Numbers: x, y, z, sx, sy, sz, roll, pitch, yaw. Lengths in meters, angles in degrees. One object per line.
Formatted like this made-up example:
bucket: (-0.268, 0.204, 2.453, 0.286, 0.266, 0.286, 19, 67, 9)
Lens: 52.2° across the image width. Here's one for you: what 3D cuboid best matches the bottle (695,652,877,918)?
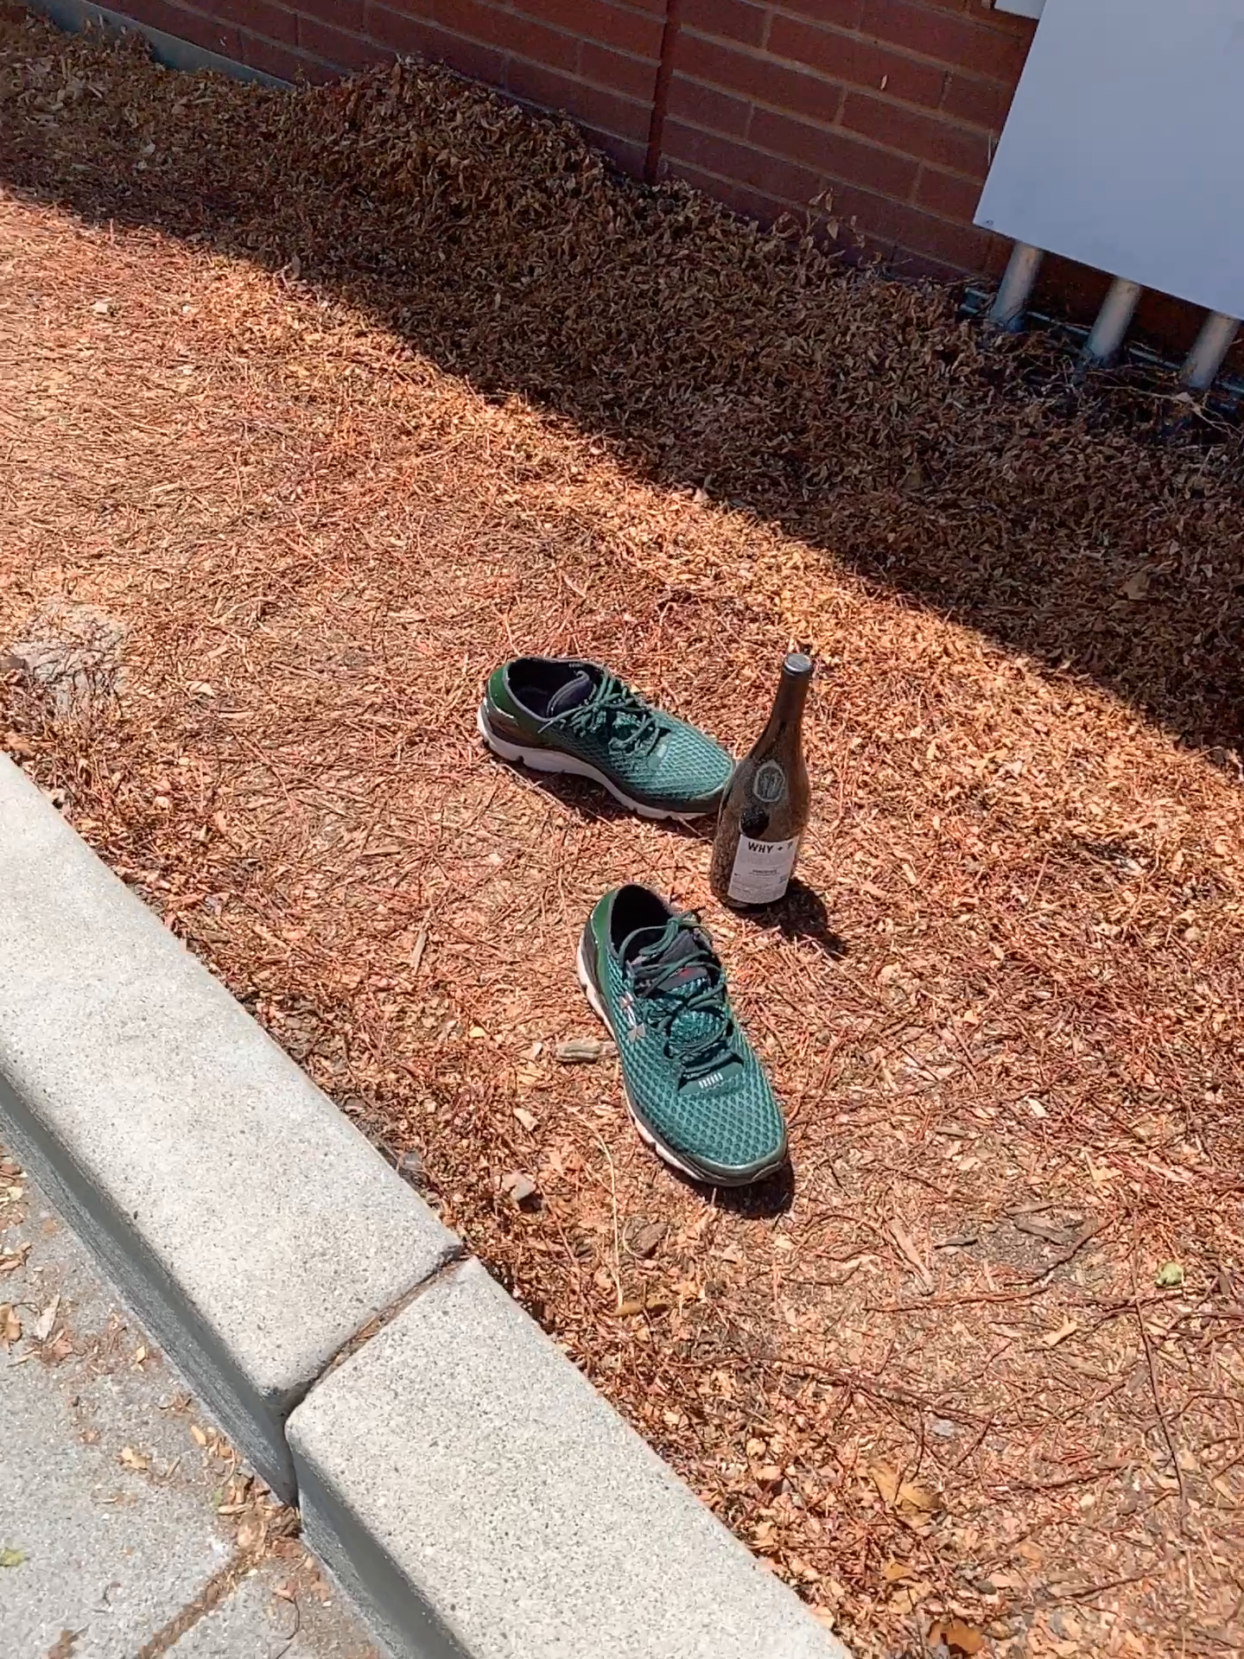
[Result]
bottle: (0.143, -0.035, 1.170, 0.090, 0.259, 0.090, 5, 49, -6)
